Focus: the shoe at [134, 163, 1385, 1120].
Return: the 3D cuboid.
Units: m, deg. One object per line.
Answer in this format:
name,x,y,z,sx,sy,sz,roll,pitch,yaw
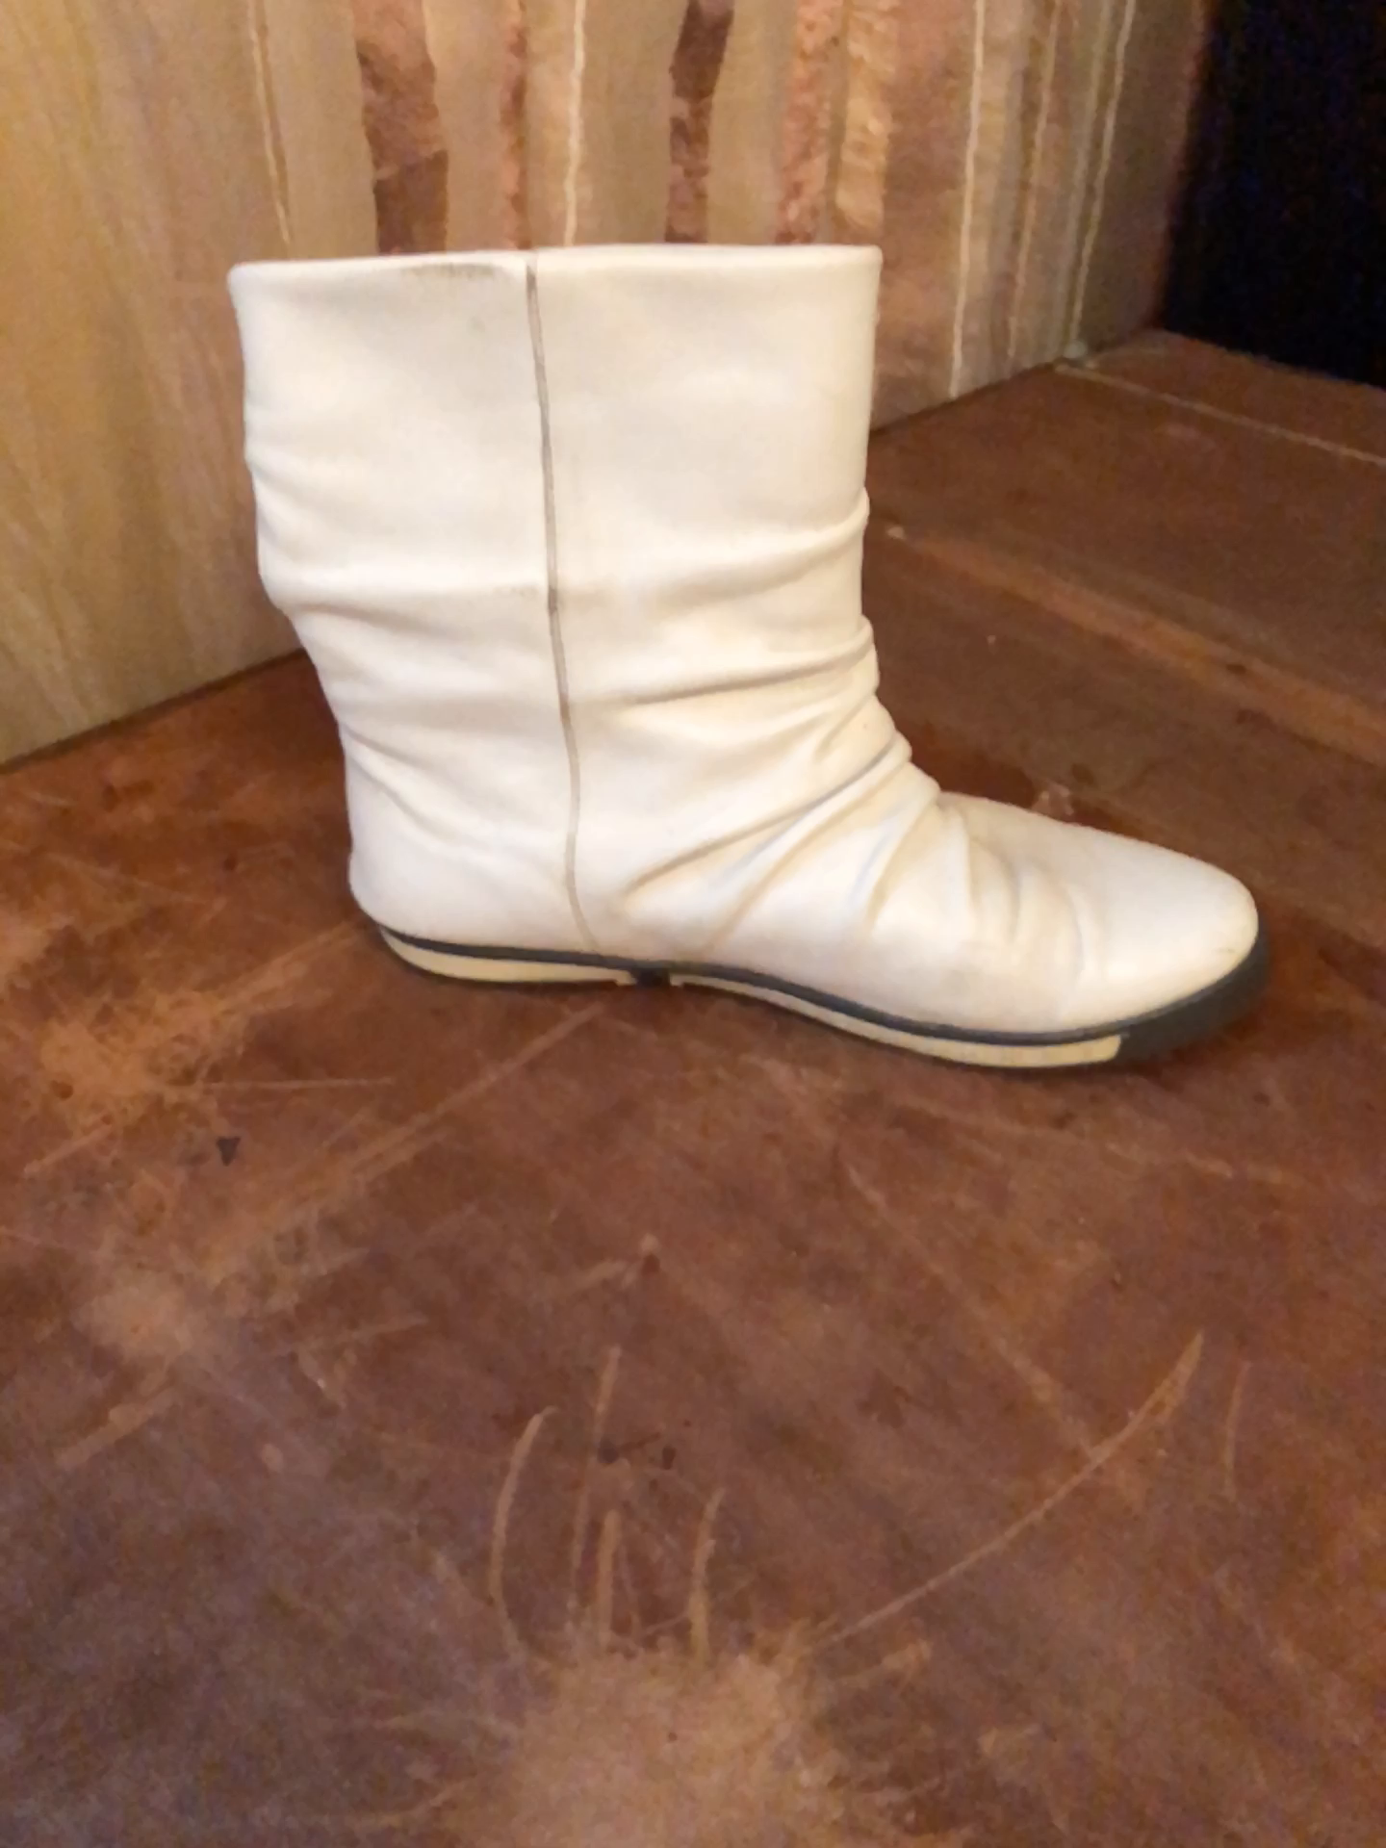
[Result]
shoe,0.022,-0.070,0.363,0.240,0.169,0.100,9,38,12
